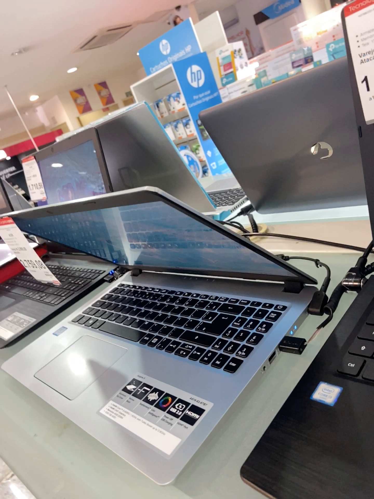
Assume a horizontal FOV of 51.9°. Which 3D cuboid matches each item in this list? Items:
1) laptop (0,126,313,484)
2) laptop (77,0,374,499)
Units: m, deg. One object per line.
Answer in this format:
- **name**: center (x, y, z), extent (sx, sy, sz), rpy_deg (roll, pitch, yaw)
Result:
- **laptop**: center (-0.095, 0.025, 0.437), extent (0.353, 0.175, 0.237), rpy_deg (-1, 30, 47)
- **laptop**: center (0.199, -0.034, 0.155), extent (0.354, 0.239, 0.288), rpy_deg (-1, 29, 49)
